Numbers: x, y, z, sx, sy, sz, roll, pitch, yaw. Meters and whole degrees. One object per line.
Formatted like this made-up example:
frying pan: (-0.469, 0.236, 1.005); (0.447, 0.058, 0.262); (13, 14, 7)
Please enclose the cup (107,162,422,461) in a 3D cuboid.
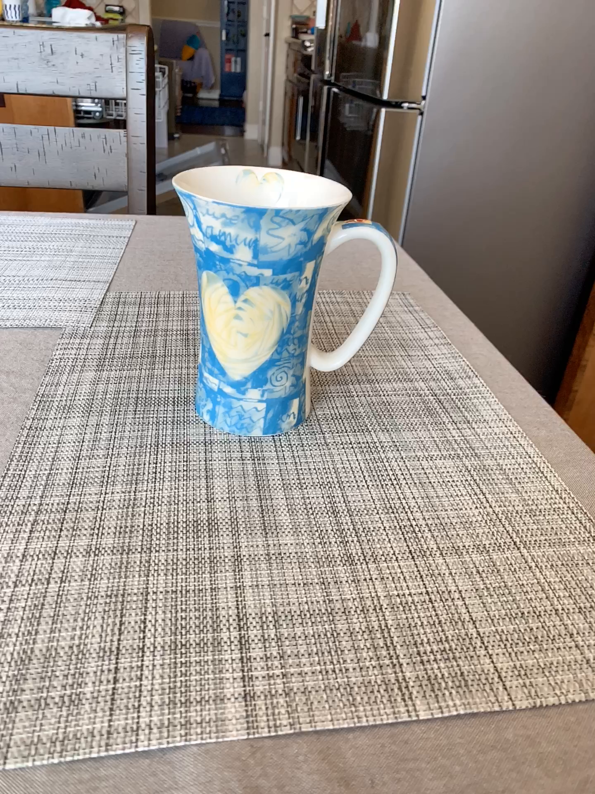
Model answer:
cup: (-0.022, -0.052, 0.375); (0.152, 0.148, 0.100); (1, 30, -5)
